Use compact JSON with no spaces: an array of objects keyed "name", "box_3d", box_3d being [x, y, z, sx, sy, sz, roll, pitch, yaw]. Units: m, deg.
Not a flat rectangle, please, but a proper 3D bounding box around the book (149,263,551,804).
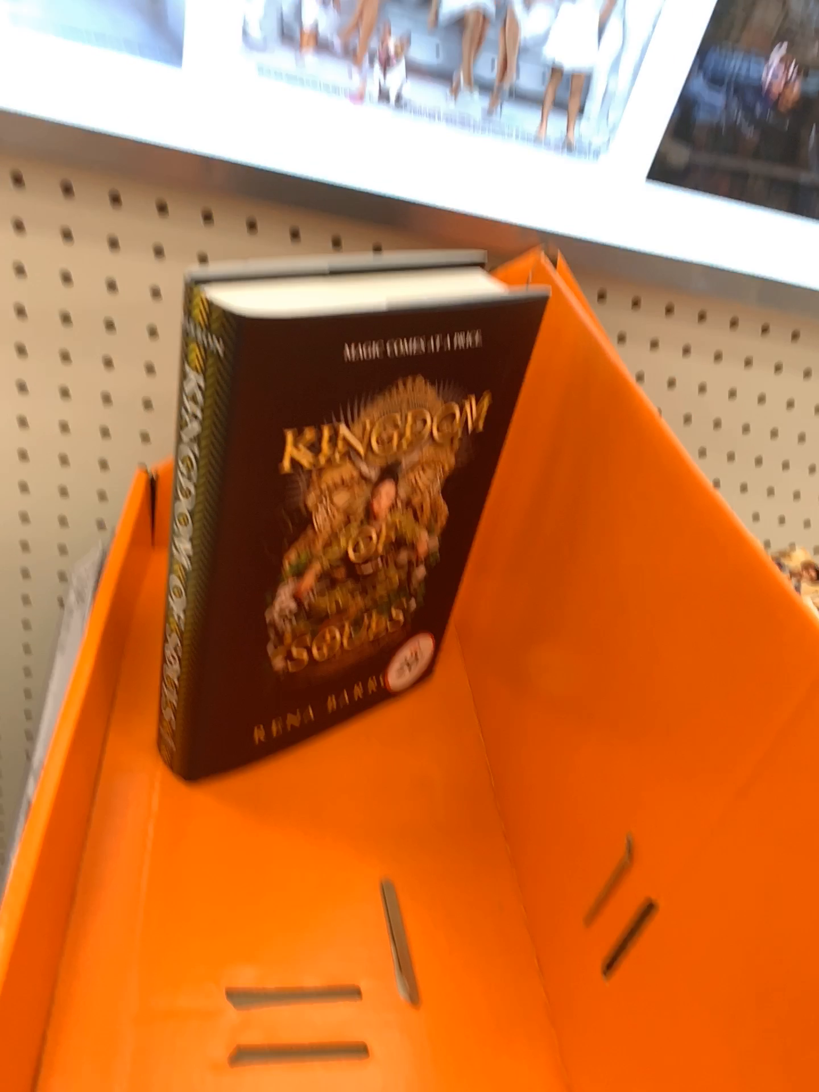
[{"name":"book","box_3d":[-0.034,-0.005,0.396,0.160,0.240,0.040,-17,43,-39]}]
